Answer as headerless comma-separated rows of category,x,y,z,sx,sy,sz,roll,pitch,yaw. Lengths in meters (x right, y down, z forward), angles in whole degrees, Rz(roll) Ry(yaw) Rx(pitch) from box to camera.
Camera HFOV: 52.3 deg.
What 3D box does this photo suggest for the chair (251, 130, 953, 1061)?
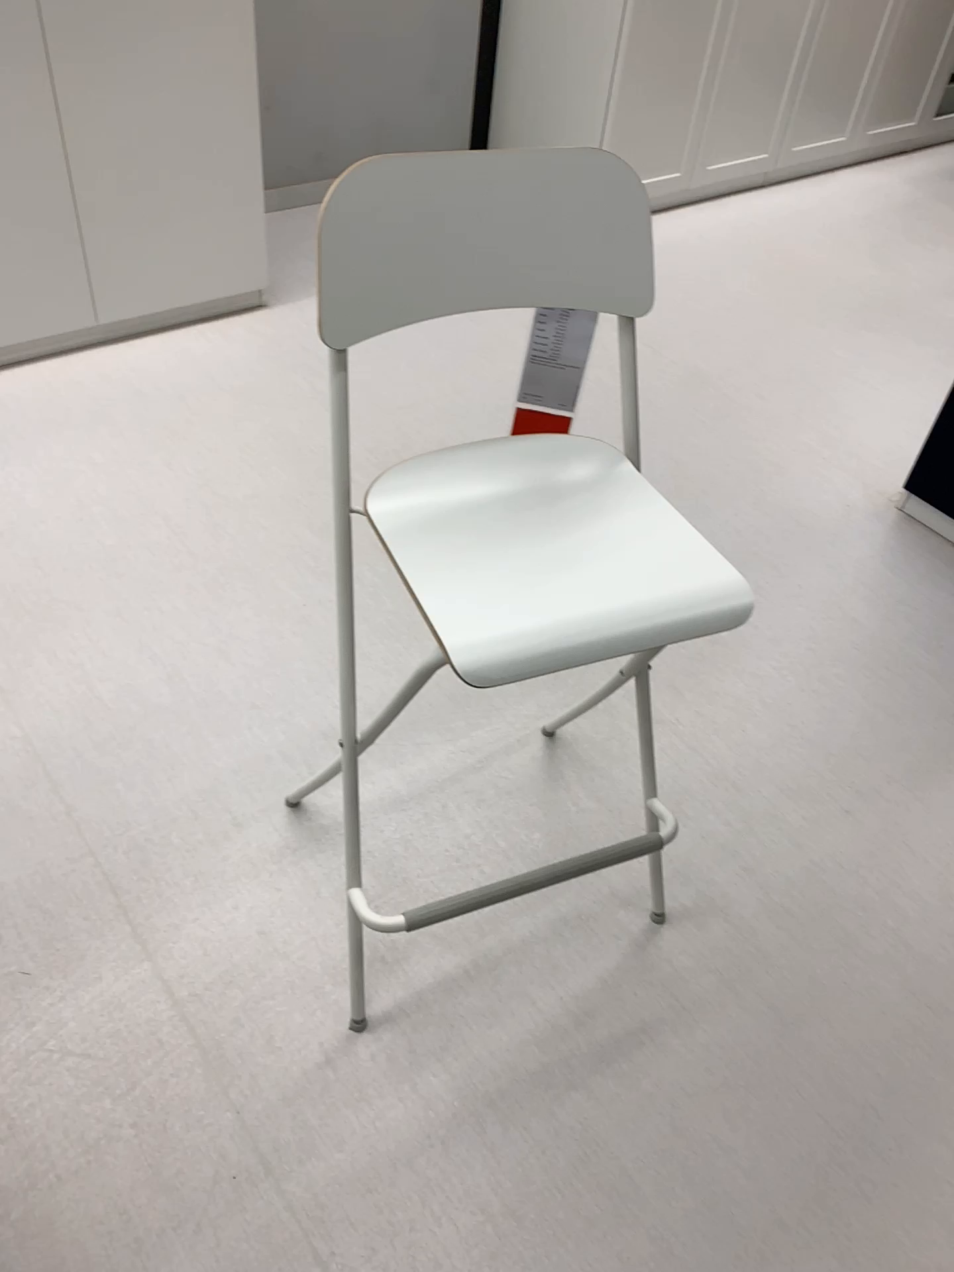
chair,0.073,-0.007,1.158,0.520,0.937,0.502,-12,48,-20
